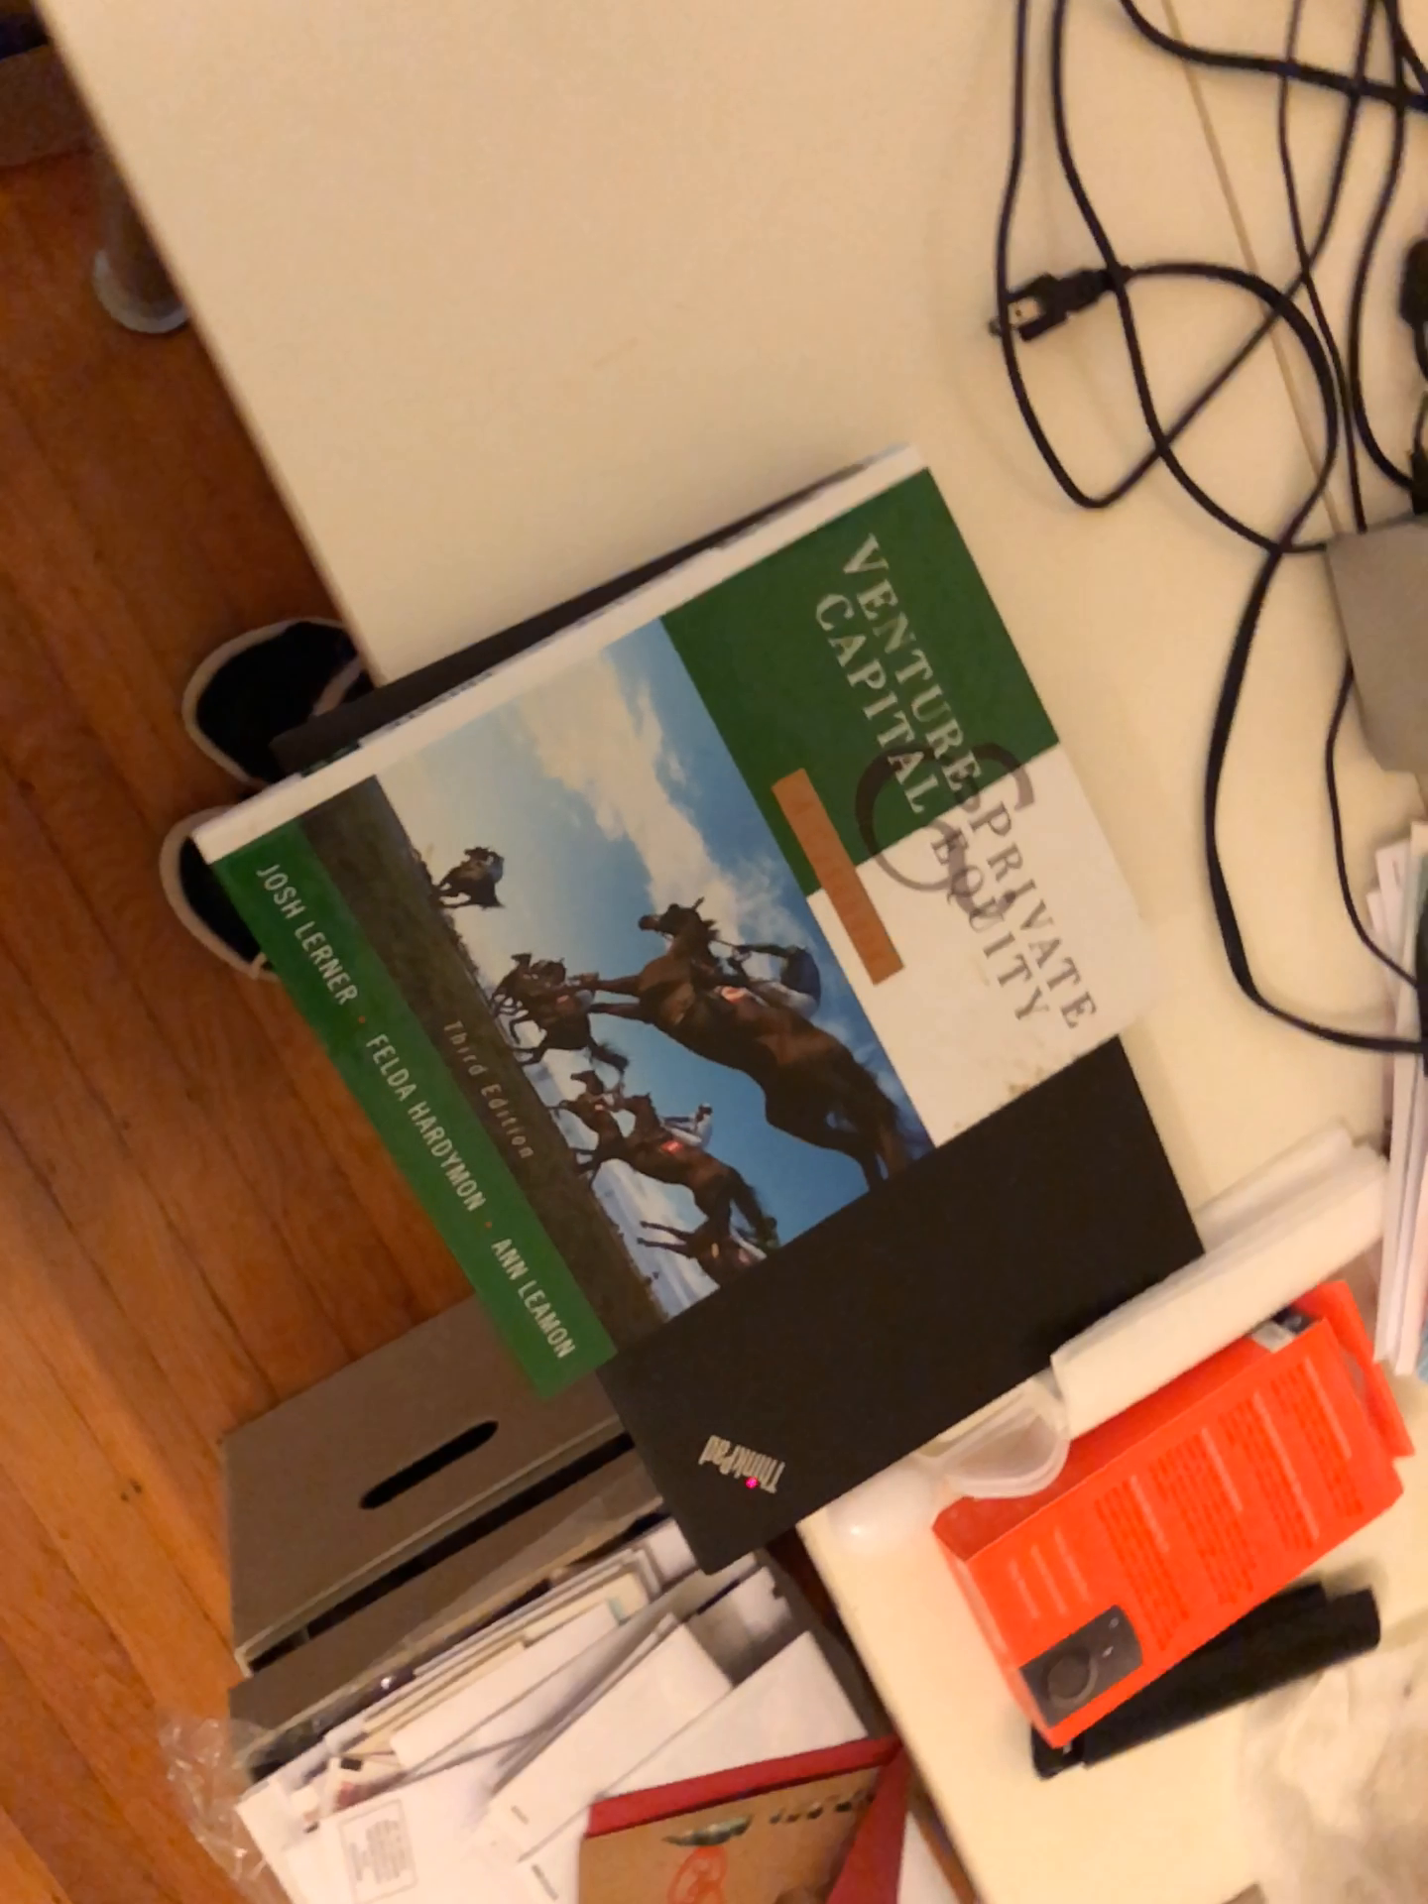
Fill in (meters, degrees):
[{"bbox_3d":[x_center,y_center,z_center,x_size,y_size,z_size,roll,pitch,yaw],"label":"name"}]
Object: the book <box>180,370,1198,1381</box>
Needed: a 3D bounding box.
[{"bbox_3d":[0.006,-0.026,0.524,0.270,0.030,0.220,-32,106,-12],"label":"book"}]
